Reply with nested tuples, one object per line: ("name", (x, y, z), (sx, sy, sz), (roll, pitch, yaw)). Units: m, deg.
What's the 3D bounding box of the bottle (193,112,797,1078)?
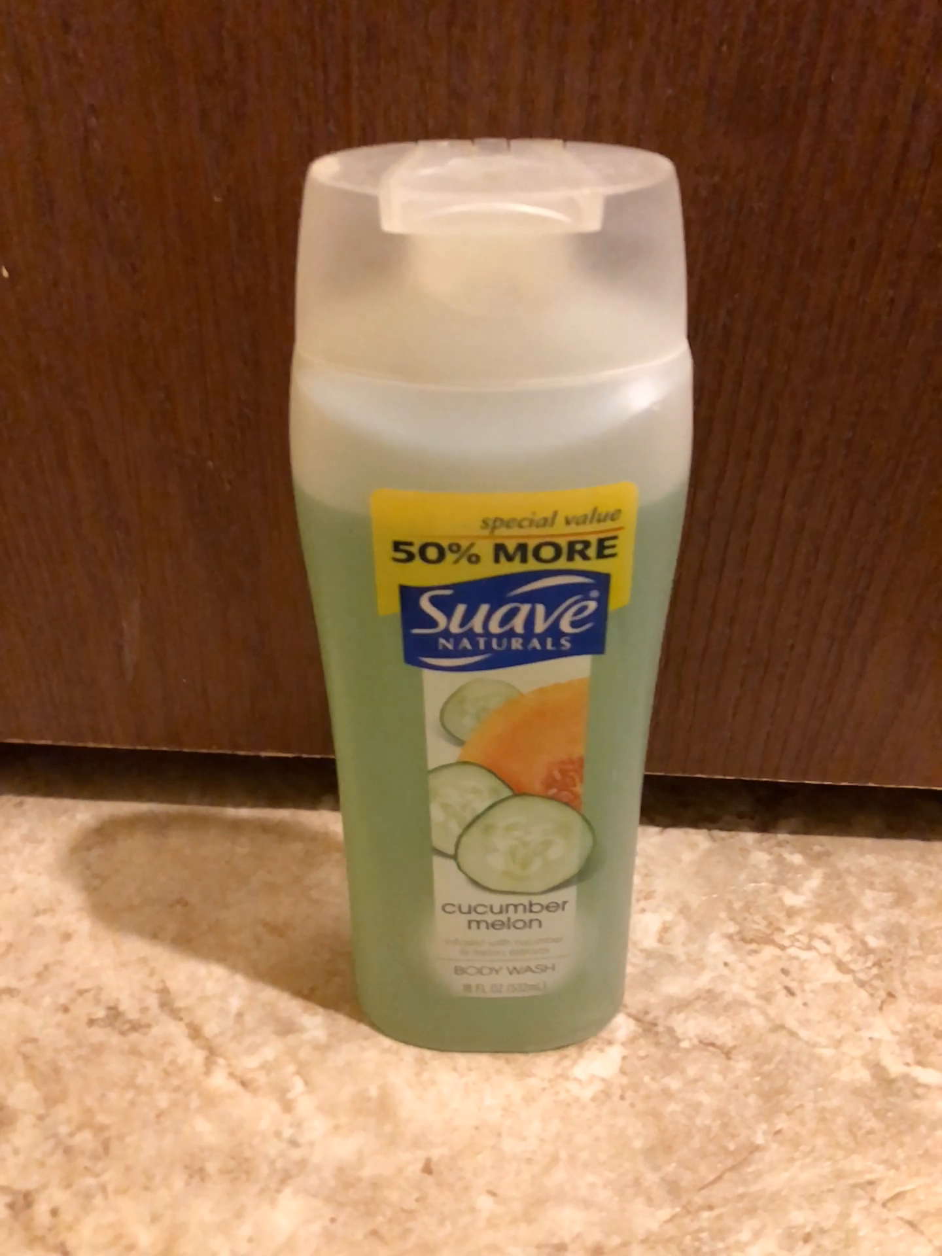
("bottle", (0.005, 0.015, 0.247), (0.090, 0.239, 0.050), (-2, 36, -1))
